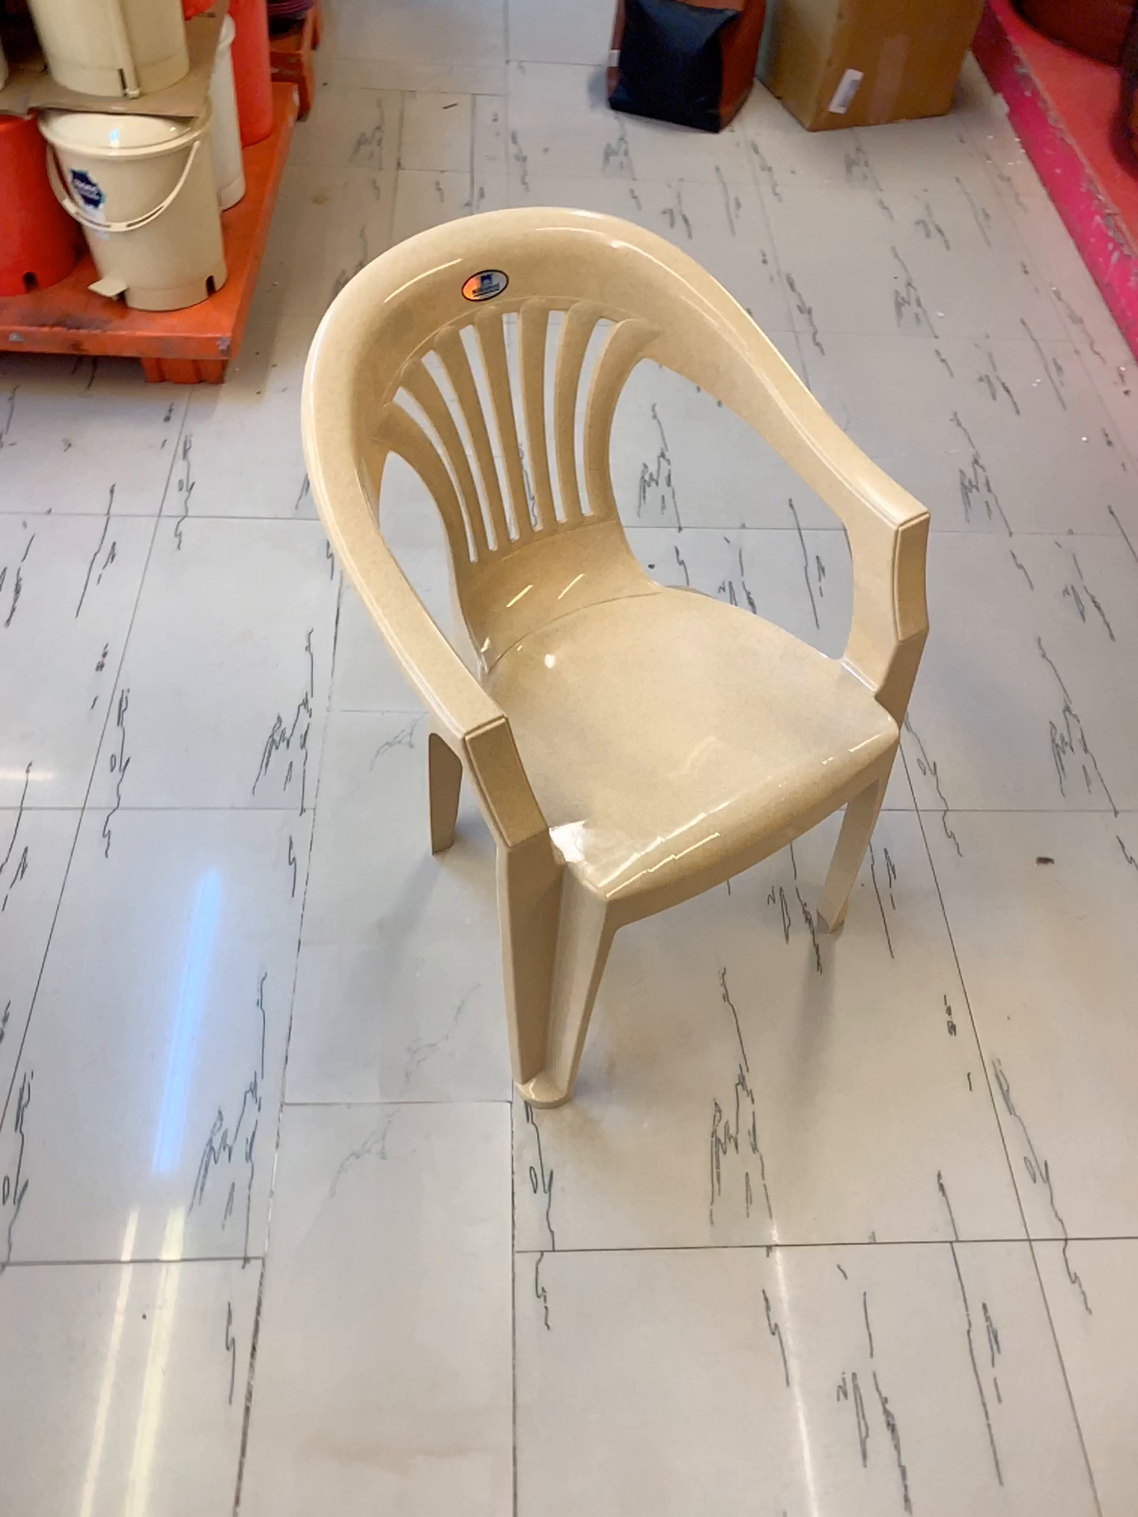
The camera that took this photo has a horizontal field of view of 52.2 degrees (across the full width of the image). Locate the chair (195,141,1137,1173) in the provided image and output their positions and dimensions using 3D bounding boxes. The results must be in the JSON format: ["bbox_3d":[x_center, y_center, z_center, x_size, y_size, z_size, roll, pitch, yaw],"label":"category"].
[{"bbox_3d":[0.059,-0.093,1.263,0.571,0.745,0.633,-25,59,-22],"label":"chair"}]
